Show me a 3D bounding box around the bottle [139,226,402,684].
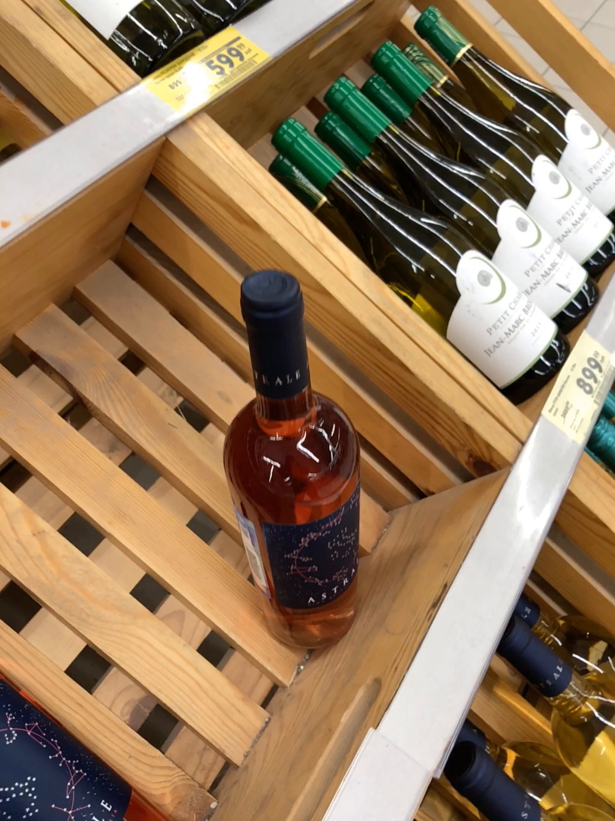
[{"bbox_3d":[-0.008,0.049,0.397,0.080,0.288,0.080,-2,48,2],"label":"bottle"}]
